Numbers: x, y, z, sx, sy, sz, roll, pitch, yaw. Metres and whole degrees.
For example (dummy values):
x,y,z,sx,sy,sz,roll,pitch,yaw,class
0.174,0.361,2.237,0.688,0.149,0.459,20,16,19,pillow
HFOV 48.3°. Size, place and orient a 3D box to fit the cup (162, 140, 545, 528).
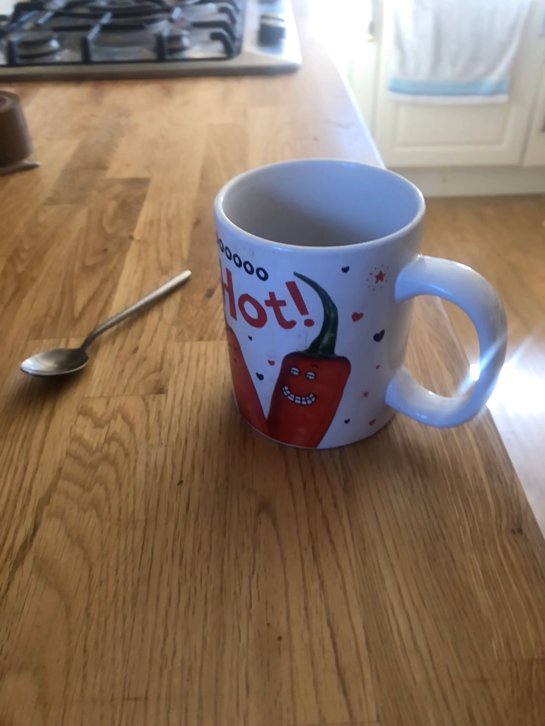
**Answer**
x,y,z,sx,sy,sz,roll,pitch,yaw,class
0.039,-0.023,0.286,0.136,0.109,0.097,25,46,29,cup
